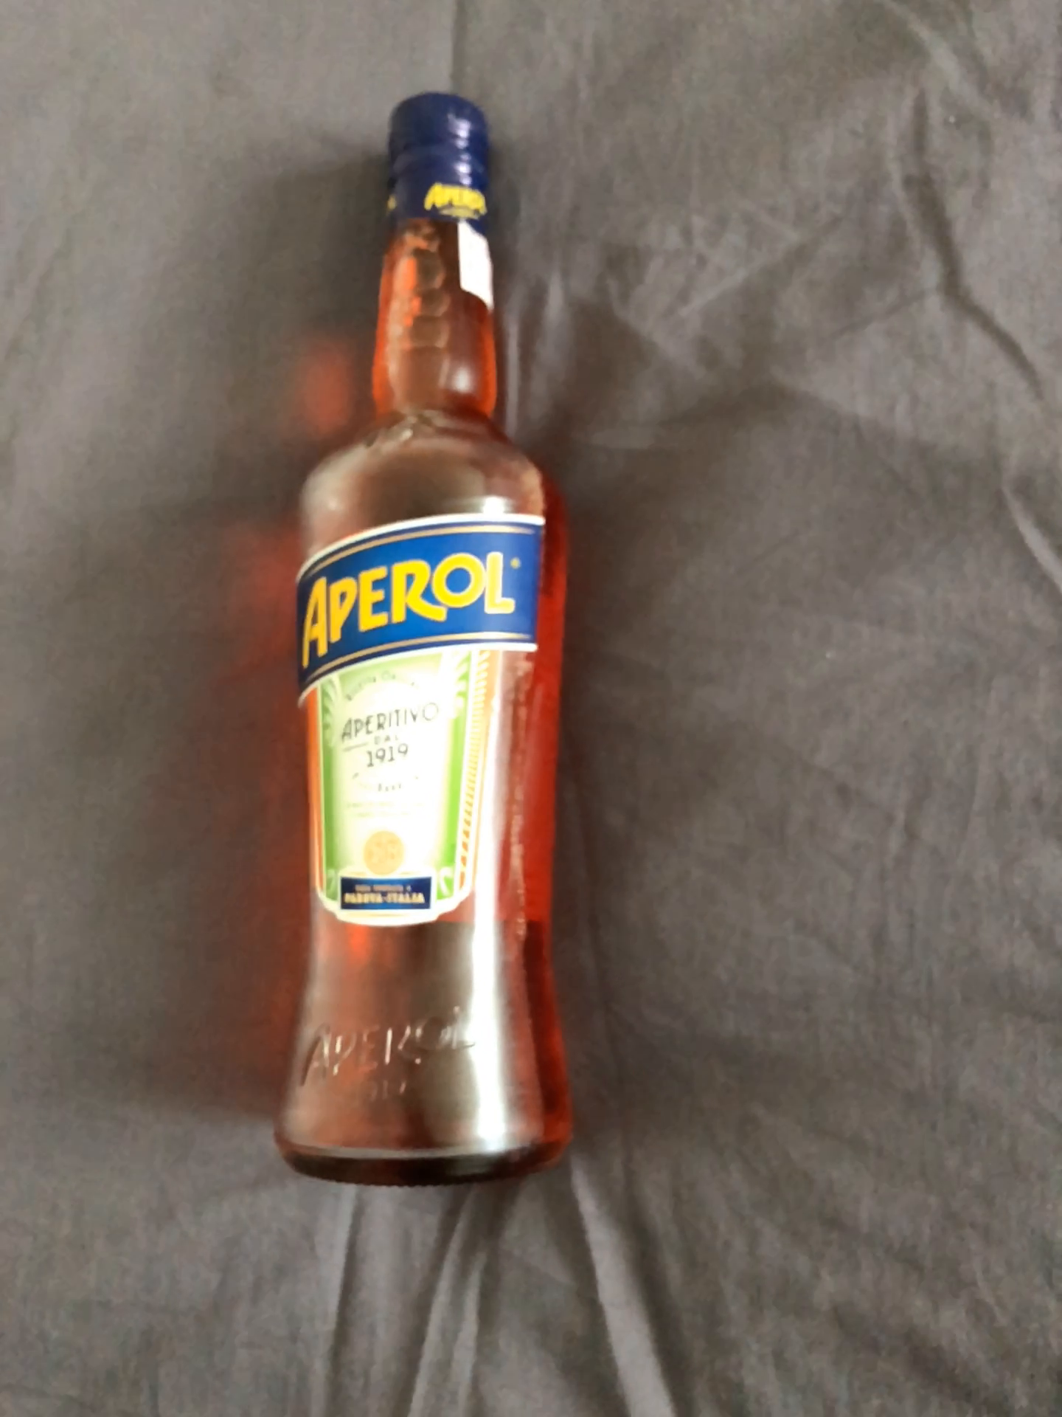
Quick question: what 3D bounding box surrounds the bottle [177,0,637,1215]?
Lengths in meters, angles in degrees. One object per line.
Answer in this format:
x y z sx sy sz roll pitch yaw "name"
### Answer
-0.029 -0.038 0.337 0.100 0.070 0.320 -3 80 18 "bottle"
